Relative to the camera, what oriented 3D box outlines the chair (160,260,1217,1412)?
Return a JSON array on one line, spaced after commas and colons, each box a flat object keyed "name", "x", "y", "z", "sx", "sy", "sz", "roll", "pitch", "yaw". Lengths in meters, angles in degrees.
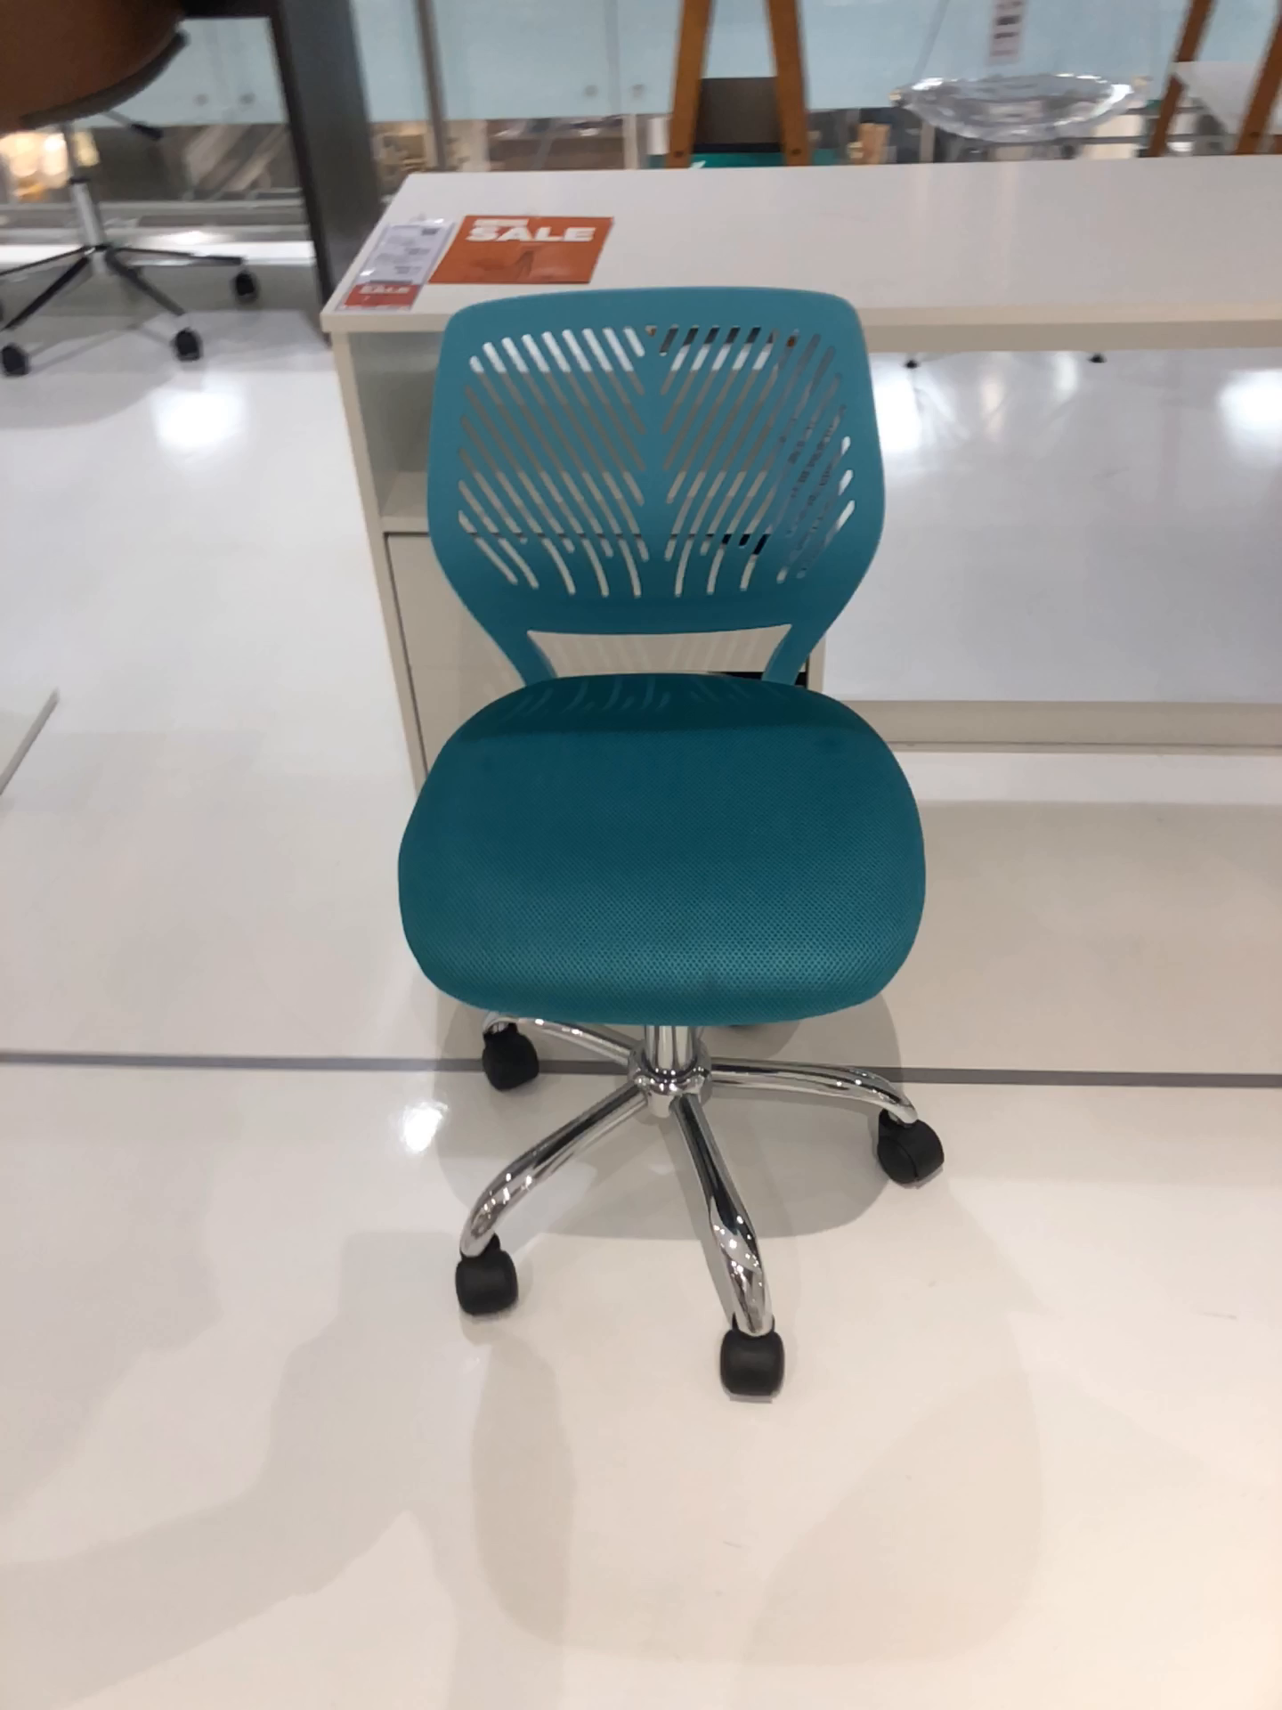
[{"name": "chair", "x": 0.039, "y": 0.002, "z": 1.088, "sx": 0.500, "sy": 0.724, "sz": 0.504, "roll": -1, "pitch": 39, "yaw": 3}]
